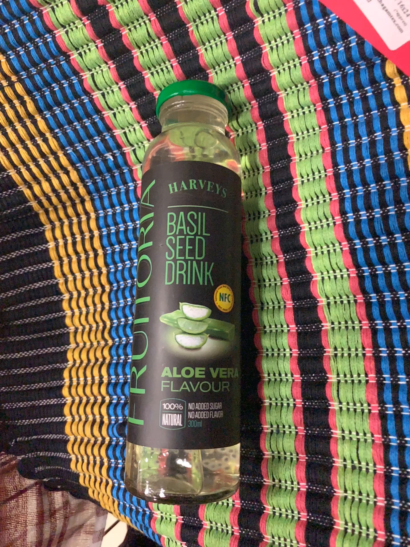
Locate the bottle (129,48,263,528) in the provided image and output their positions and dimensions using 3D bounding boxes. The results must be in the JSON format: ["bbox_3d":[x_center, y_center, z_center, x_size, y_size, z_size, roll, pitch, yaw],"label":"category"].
[{"bbox_3d":[-0.007,0.002,0.207,0.050,0.060,0.200,-1,81,-2],"label":"bottle"}]
